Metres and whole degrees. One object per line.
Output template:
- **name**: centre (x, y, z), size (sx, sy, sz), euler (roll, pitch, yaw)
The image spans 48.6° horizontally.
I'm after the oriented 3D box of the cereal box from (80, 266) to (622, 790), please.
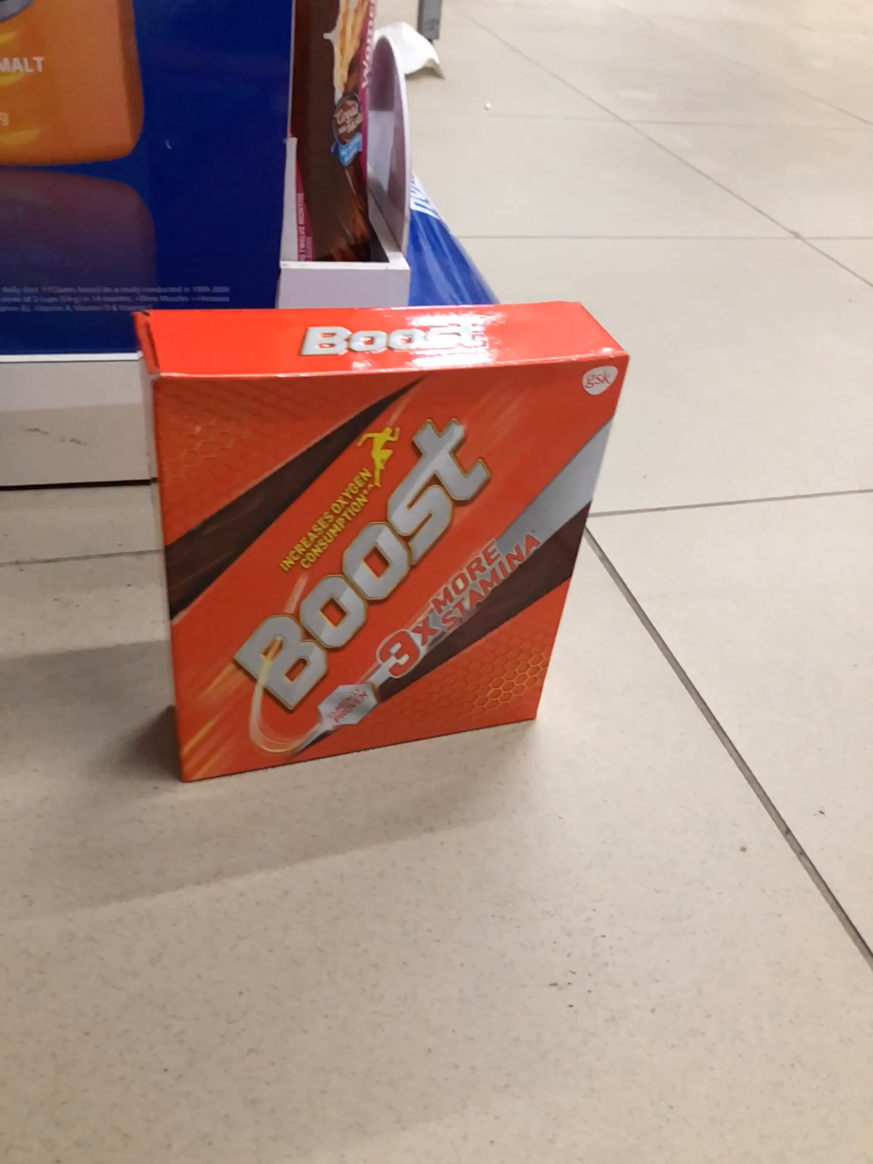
- **cereal box**: centre (-0.035, -0.018, 0.354), size (0.160, 0.179, 0.050), euler (-8, 41, -21)
